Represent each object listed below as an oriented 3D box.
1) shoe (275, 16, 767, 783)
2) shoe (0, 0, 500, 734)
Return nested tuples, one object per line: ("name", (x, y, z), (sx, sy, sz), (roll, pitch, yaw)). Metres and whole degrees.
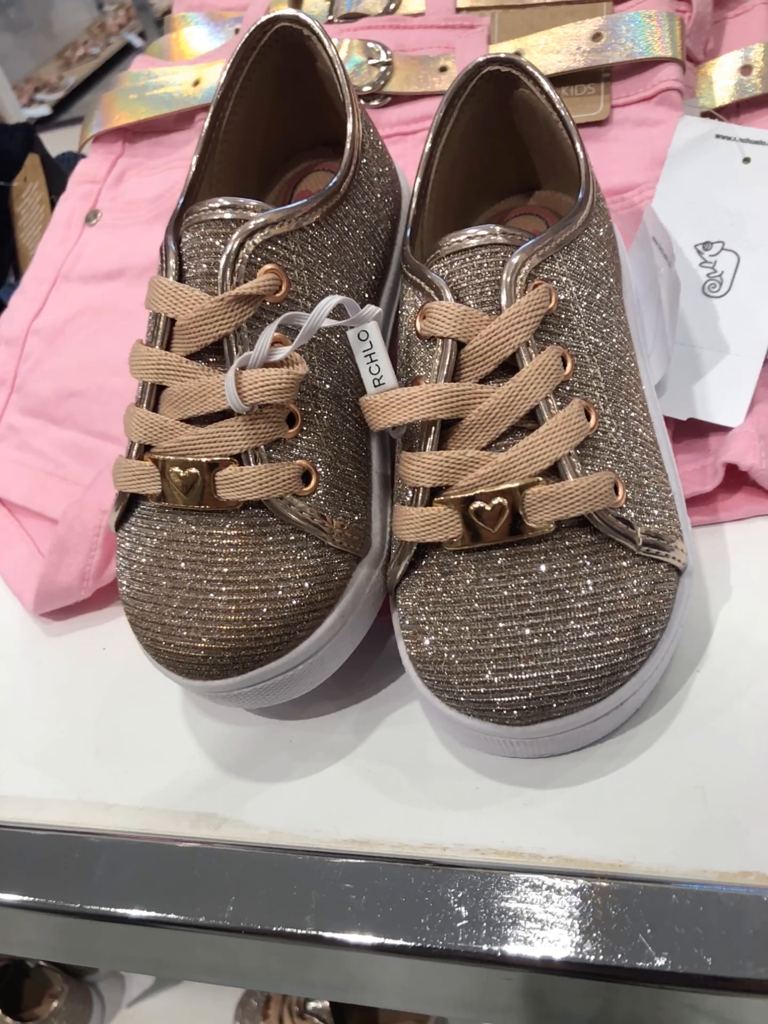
("shoe", (0.032, -0.033, 0.215), (0.080, 0.079, 0.171), (-8, 53, 13))
("shoe", (-0.019, -0.039, 0.222), (0.070, 0.080, 0.171), (-1, 66, 20))
